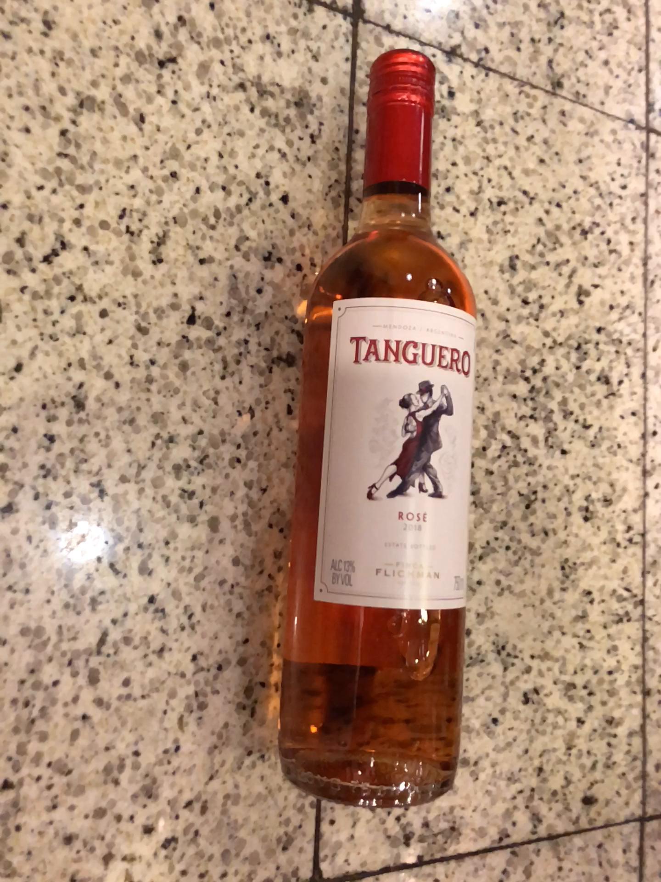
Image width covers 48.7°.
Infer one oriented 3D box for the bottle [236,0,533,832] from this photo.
[{"bbox_3d":[0.024,-0.027,0.299,0.090,0.060,0.320,6,84,-26],"label":"bottle"}]
